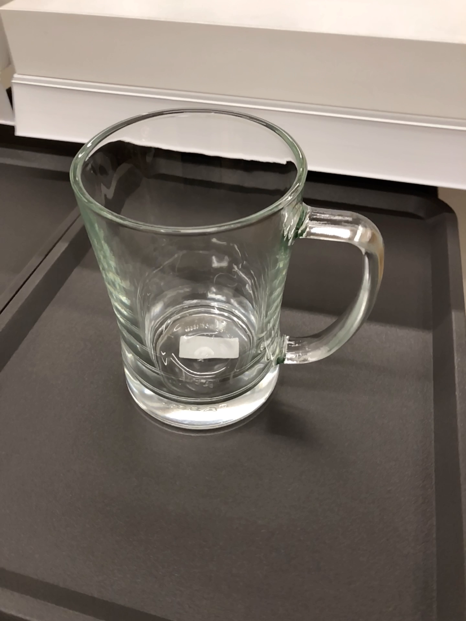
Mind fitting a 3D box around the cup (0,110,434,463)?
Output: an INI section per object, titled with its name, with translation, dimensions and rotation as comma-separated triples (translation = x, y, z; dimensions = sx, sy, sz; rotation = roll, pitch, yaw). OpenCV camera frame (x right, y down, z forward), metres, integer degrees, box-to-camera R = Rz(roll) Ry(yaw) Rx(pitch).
[cup]
translation = -0.002, -0.013, 0.273
dimensions = 0.160, 0.130, 0.110
rotation = 6, 44, 6
